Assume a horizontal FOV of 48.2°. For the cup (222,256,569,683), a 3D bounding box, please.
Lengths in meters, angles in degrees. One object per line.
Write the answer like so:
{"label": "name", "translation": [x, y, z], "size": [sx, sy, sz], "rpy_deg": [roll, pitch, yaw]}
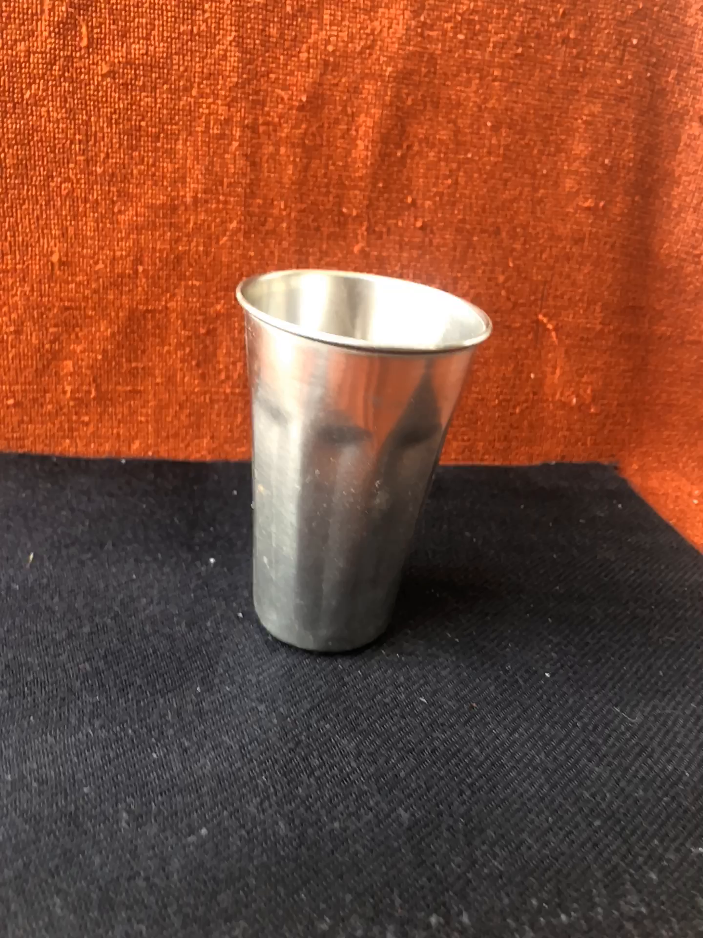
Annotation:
{"label": "cup", "translation": [0.004, -0.002, 0.233], "size": [0.070, 0.099, 0.070], "rpy_deg": [7, 26, -3]}
